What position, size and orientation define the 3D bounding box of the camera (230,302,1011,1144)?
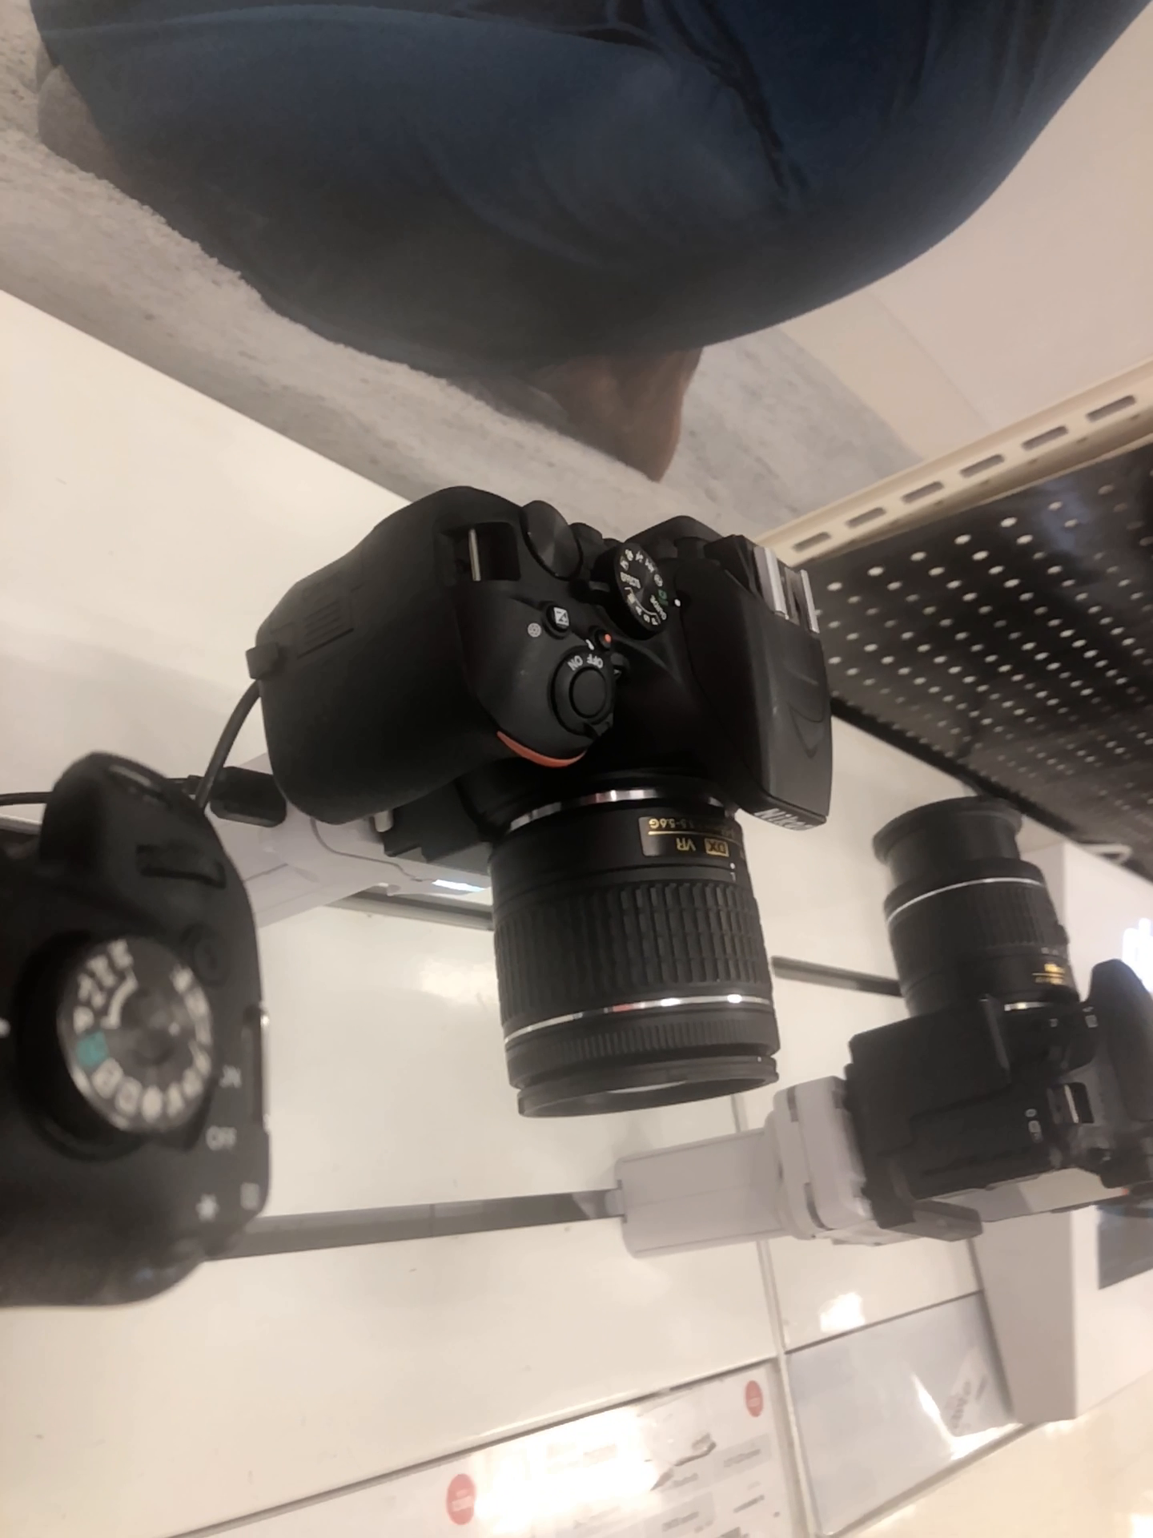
[{"bbox_3d":[0.012,0.007,0.279,0.141,0.089,0.130,19,58,-50],"label":"camera"}]
